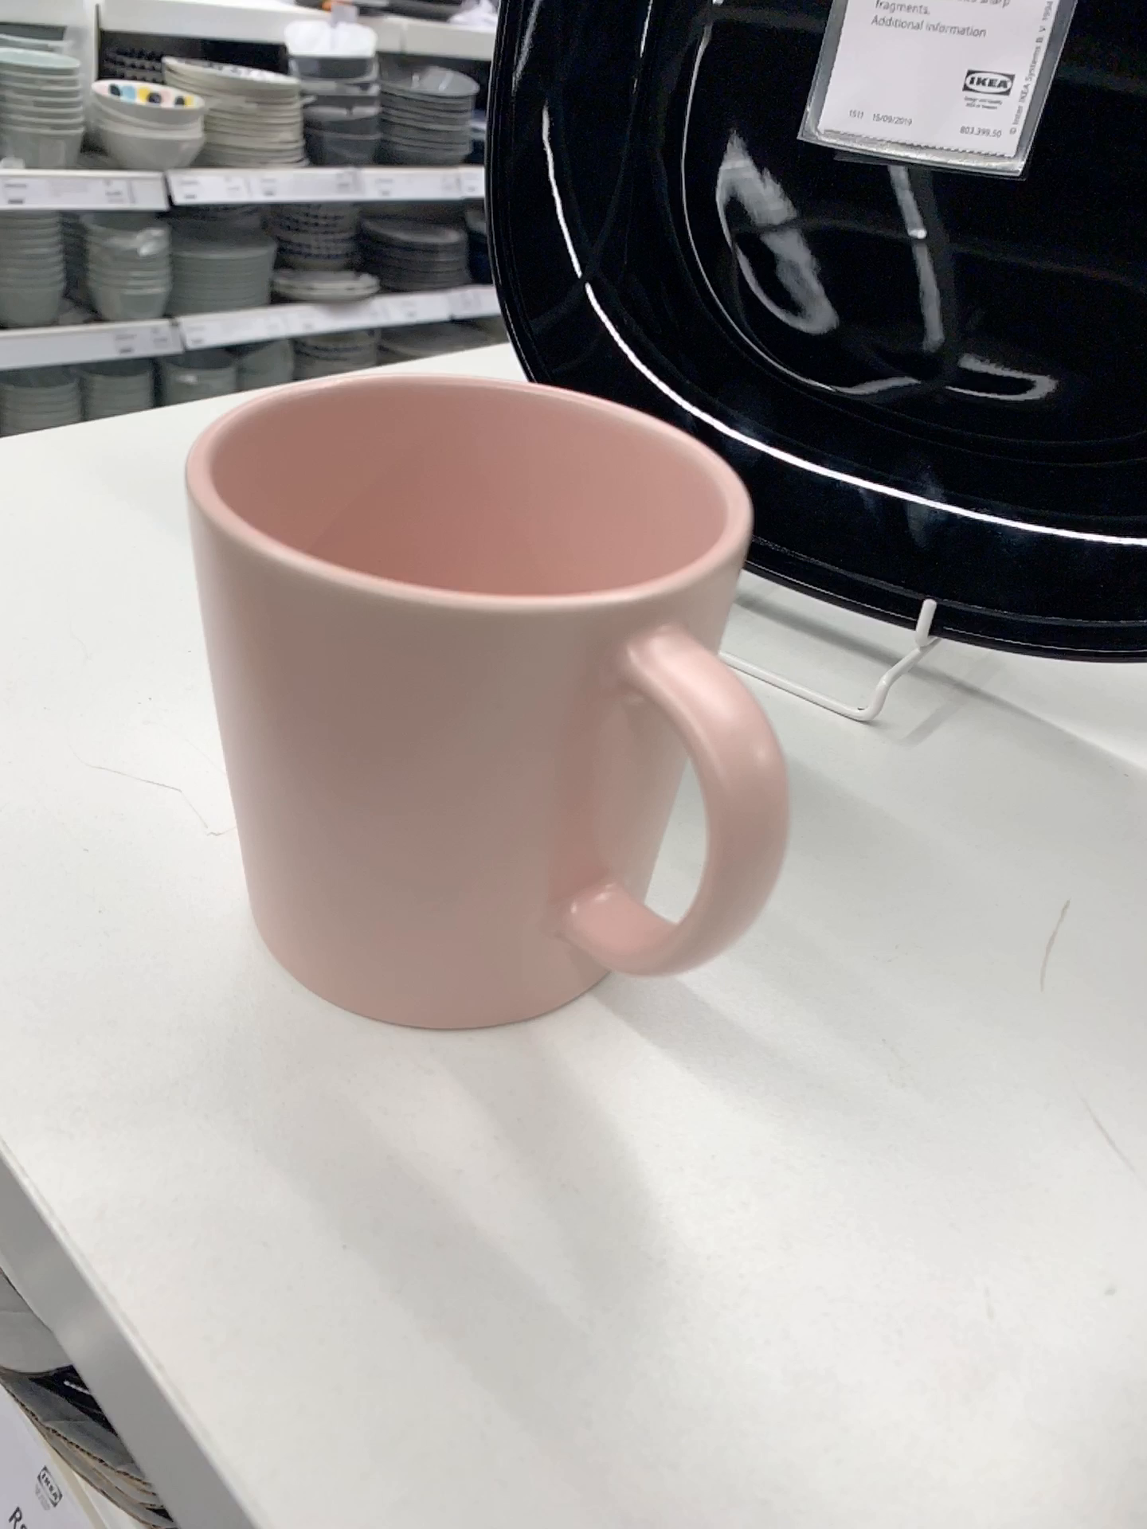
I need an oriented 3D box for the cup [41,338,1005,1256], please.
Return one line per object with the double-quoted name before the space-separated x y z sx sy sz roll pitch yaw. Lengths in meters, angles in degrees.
"cup" -0.017 -0.010 0.198 0.090 0.080 0.120 -19 43 -35
